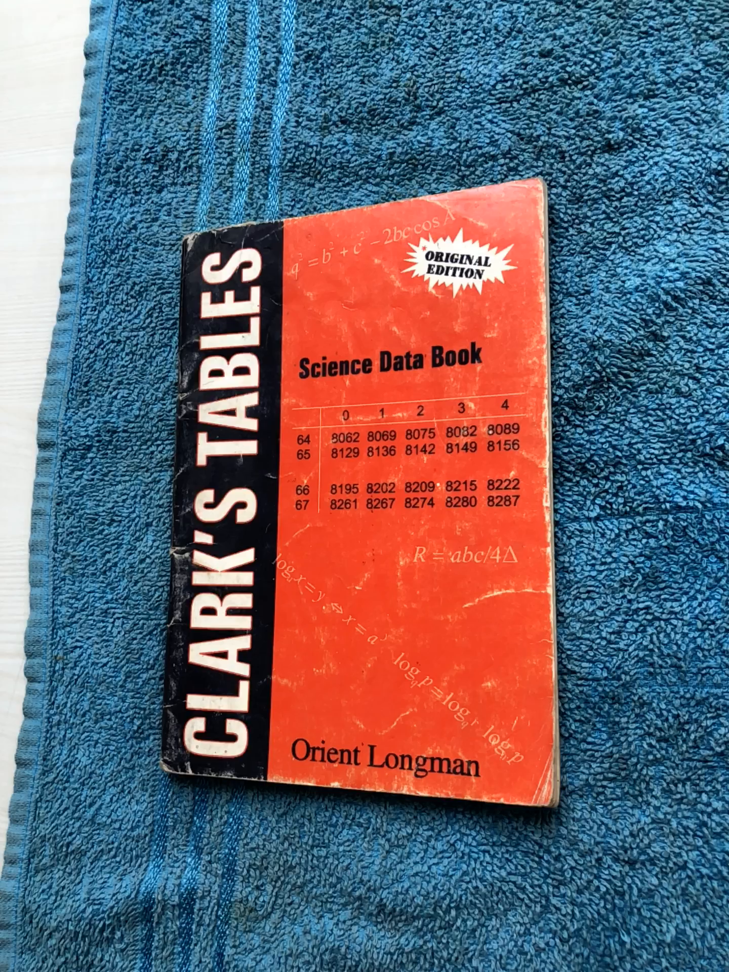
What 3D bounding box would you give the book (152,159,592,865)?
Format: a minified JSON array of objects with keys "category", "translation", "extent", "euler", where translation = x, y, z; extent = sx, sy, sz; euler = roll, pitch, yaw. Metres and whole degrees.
[{"category":"book","translation":[0.001,0.006,0.239],"extent":[0.120,0.030,0.180],"euler":[-2,82,19]}]
